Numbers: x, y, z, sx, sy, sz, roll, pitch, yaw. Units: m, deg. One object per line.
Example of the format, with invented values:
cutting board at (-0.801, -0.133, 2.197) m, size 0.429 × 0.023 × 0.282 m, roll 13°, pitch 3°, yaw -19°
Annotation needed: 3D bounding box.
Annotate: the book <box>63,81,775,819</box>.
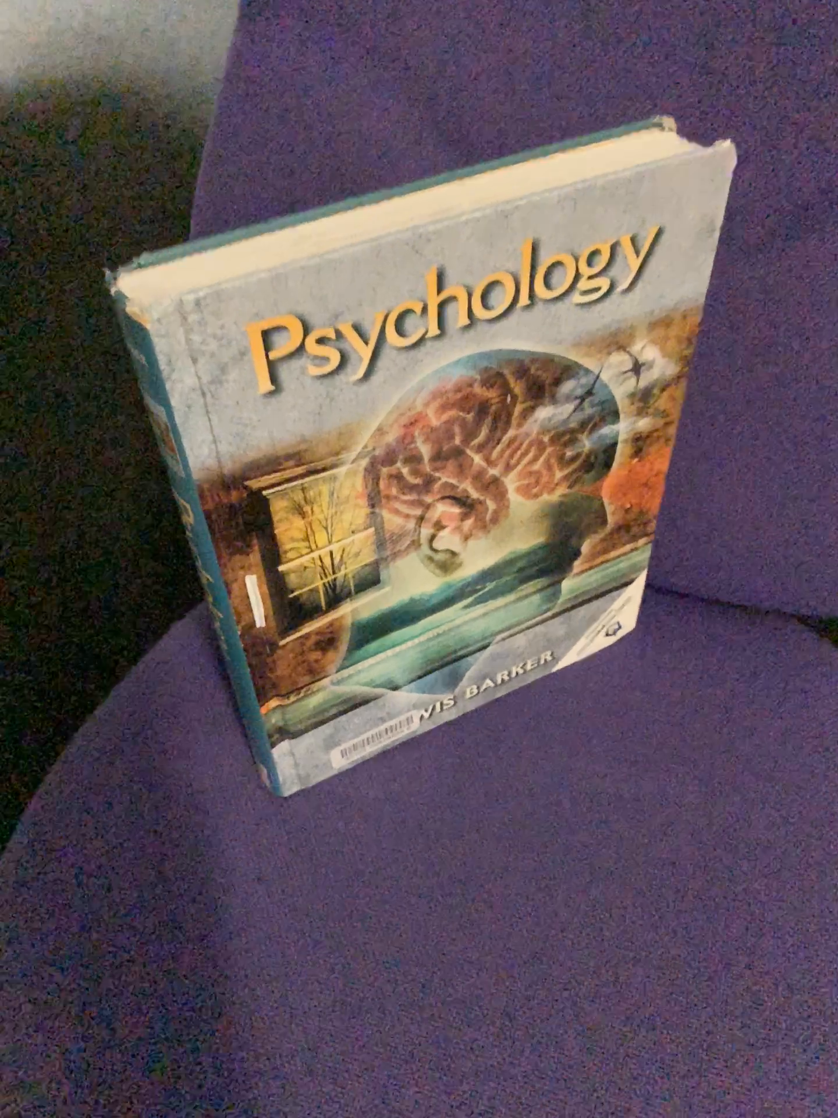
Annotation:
book at (0.019, -0.024, 0.388) m, size 0.243 × 0.288 × 0.040 m, roll -24°, pitch 50°, yaw -16°
